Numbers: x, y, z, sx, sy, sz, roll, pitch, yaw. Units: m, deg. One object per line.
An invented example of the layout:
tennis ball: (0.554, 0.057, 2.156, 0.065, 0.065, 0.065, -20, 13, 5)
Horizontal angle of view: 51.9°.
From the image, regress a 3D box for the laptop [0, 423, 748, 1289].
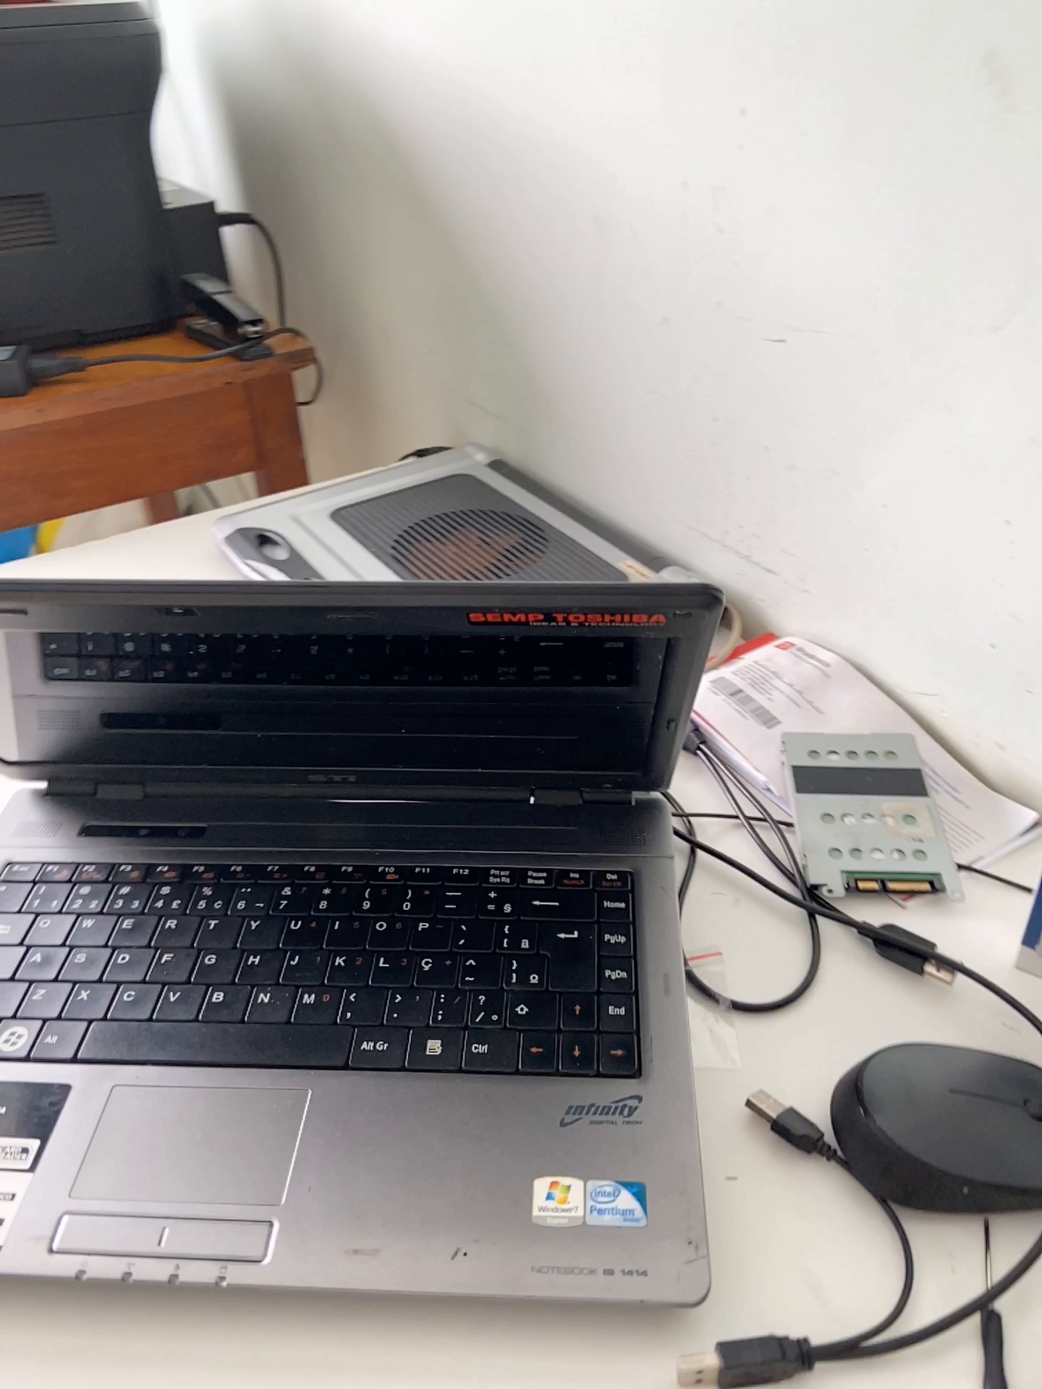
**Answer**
laptop: (-0.108, 0.041, 0.408, 0.341, 0.200, 0.243, 1, 36, 4)
